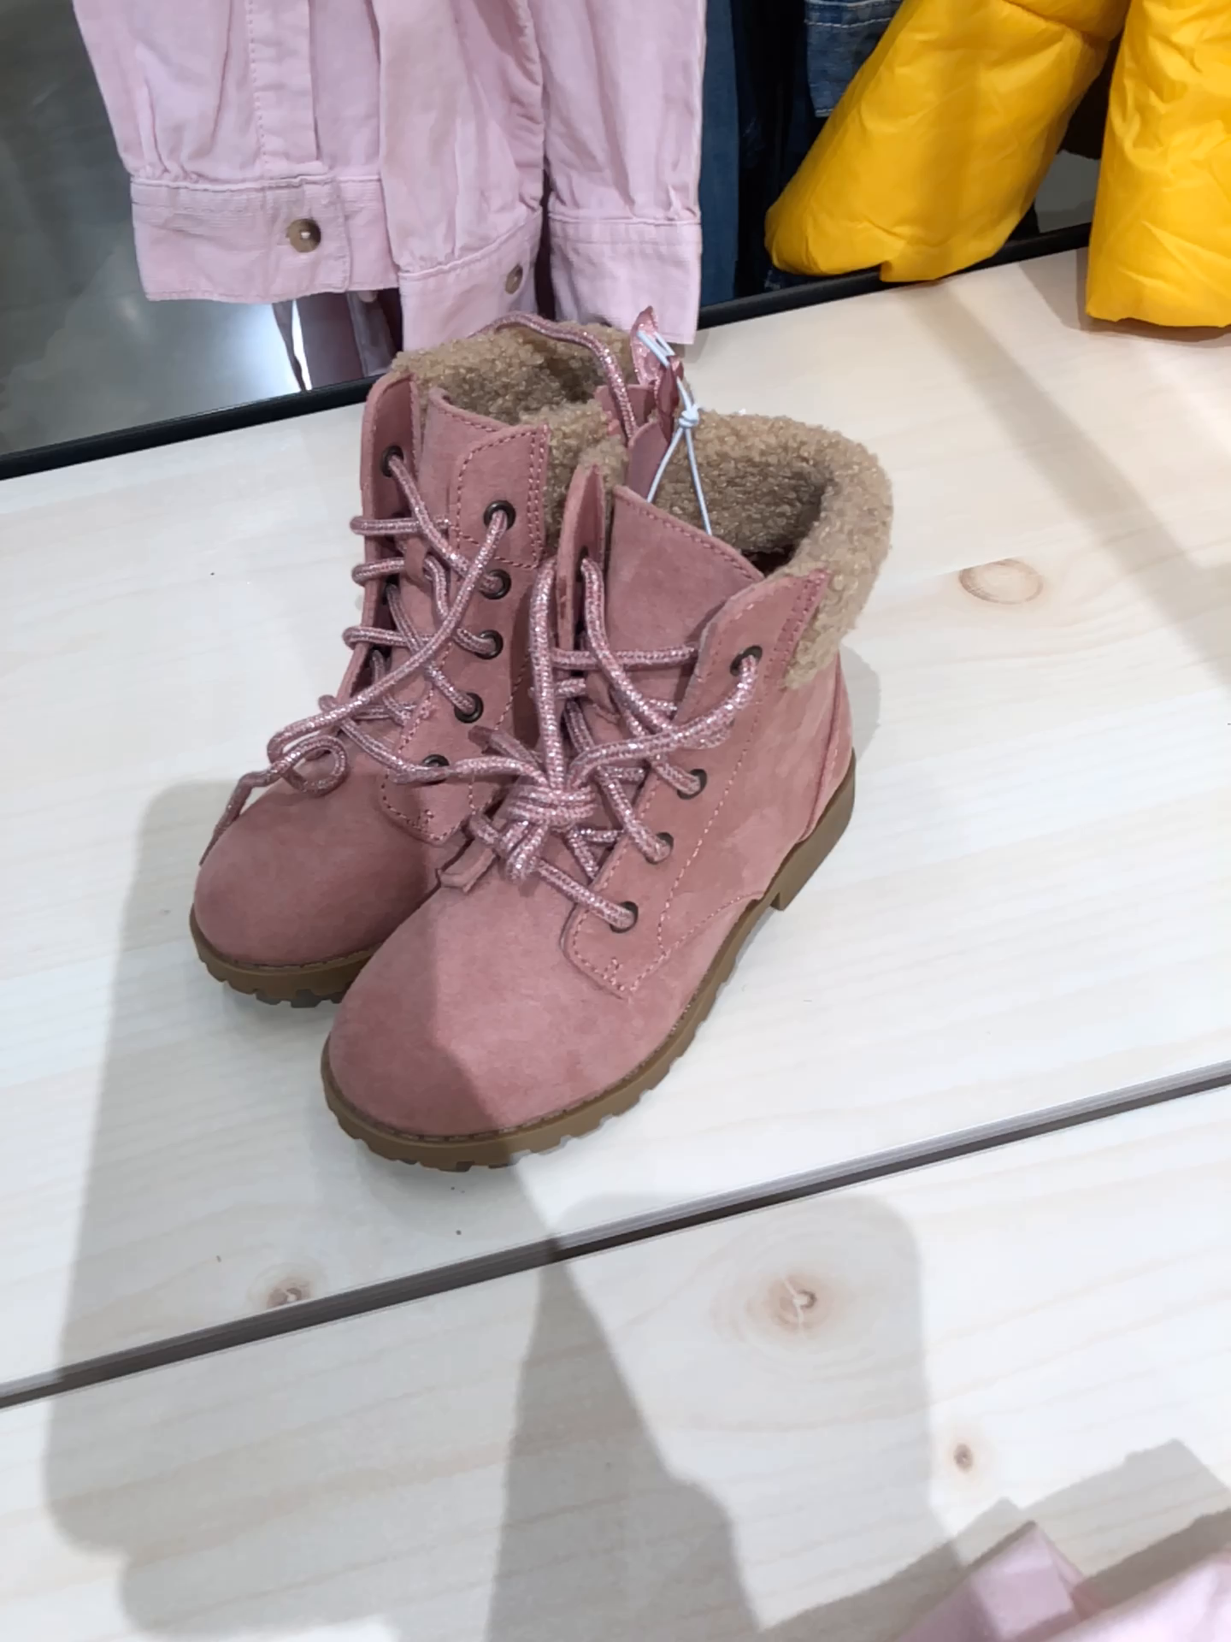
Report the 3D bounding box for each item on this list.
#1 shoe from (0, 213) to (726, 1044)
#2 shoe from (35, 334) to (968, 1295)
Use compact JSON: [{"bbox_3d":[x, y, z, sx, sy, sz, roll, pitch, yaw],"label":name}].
[{"bbox_3d":[-0.060,-0.051,0.336,0.160,0.120,0.080,-37,52,-24],"label":"shoe"},{"bbox_3d":[-0.011,-0.006,0.295,0.160,0.120,0.080,-37,52,-24],"label":"shoe"}]
